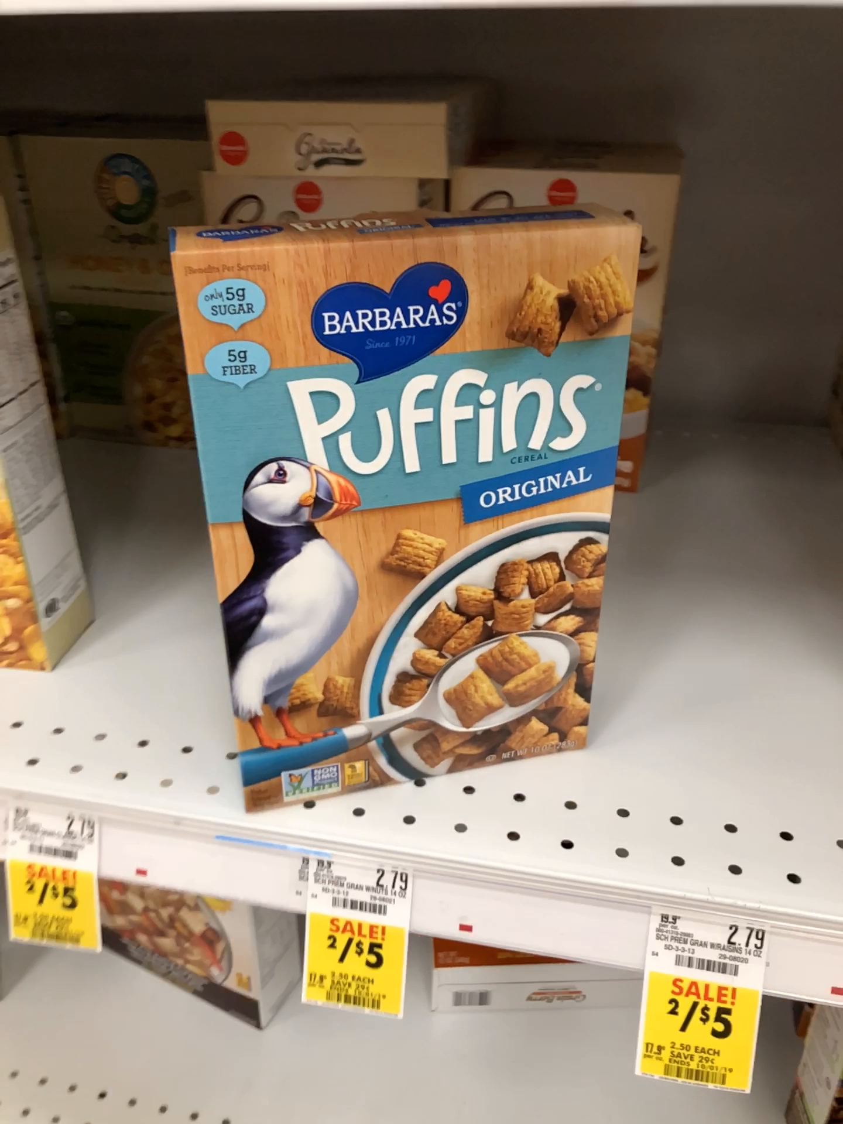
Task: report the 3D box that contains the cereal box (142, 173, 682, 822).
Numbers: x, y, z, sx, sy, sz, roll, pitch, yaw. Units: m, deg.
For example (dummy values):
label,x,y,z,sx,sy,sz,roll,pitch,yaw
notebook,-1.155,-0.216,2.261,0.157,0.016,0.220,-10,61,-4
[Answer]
label,x,y,z,sx,sy,sz,roll,pitch,yaw
cereal box,-0.002,-0.022,0.409,0.190,0.259,0.060,-8,30,-12
